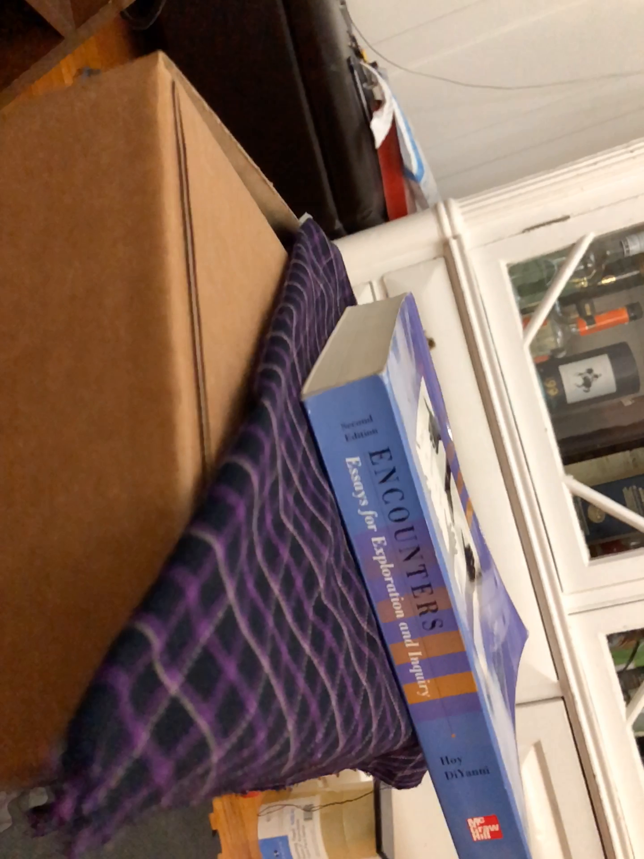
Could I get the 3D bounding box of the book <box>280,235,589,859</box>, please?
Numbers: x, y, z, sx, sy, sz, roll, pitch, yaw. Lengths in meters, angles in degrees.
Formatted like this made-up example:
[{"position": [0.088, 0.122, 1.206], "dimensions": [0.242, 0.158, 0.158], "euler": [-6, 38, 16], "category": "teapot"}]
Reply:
[{"position": [0.062, 0.049, 0.349], "dimensions": [0.201, 0.040, 0.260], "euler": [-69, 142, -67], "category": "book"}]
